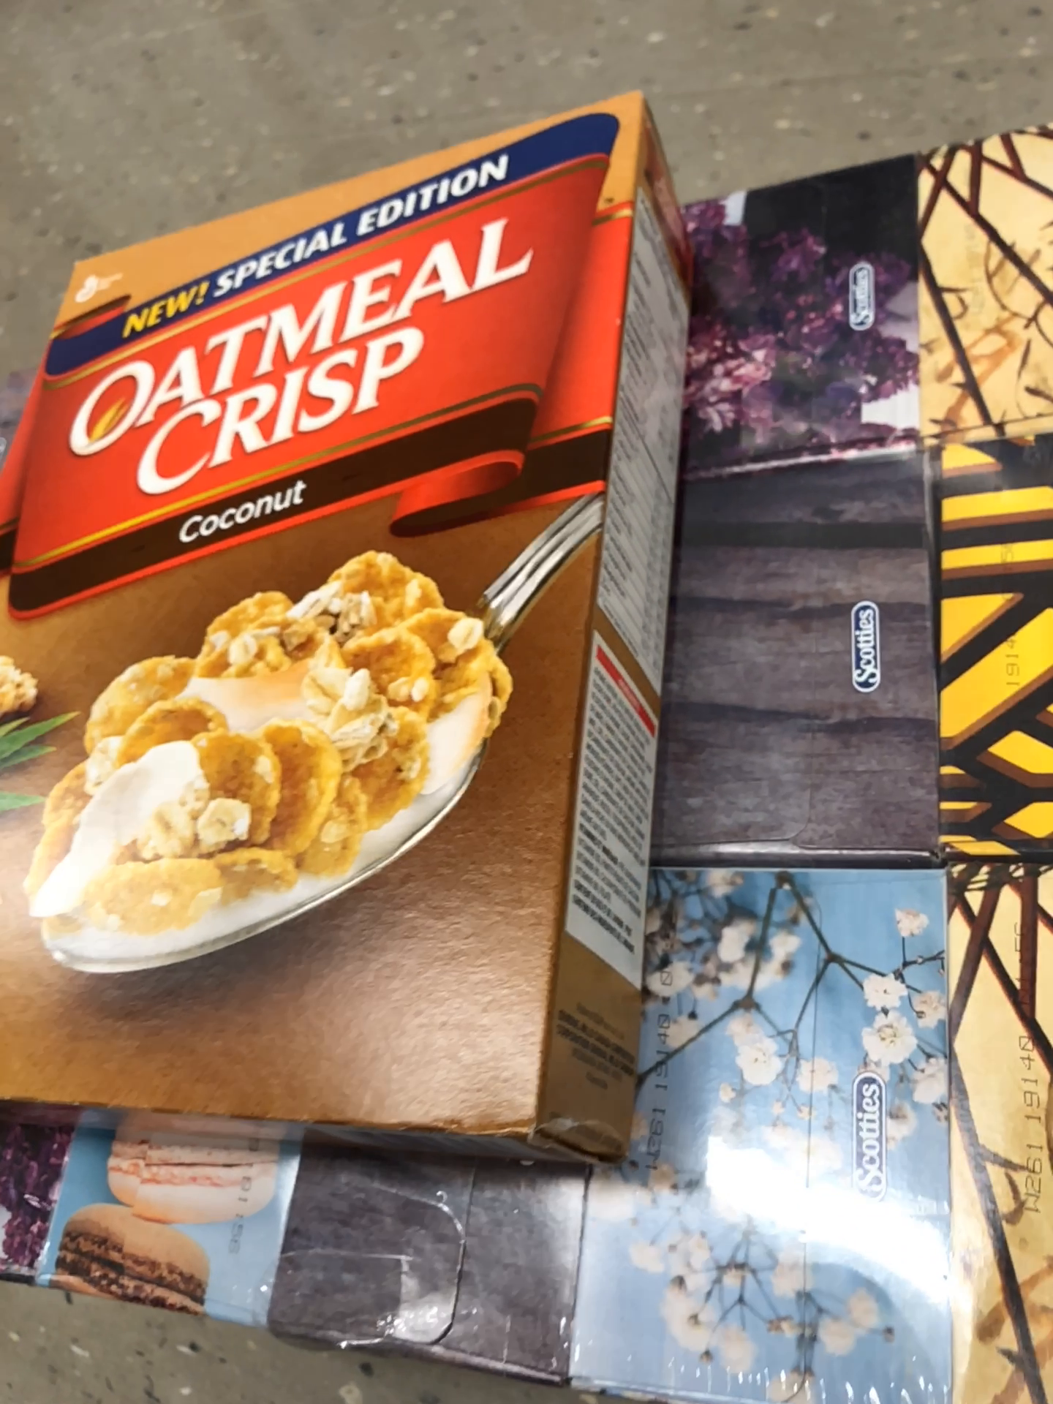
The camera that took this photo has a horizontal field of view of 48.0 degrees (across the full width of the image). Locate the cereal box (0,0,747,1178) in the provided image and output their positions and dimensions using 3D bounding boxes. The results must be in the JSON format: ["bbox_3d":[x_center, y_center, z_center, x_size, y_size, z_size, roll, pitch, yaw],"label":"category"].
[{"bbox_3d":[-0.060,-0.042,0.311,0.210,0.060,0.290,-7,57,27],"label":"cereal box"}]
